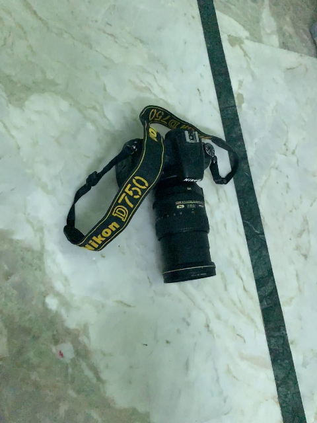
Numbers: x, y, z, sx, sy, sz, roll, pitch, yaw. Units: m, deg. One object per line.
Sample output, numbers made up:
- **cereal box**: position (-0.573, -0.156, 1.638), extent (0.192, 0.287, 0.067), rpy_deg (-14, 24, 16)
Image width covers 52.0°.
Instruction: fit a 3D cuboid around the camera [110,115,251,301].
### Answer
- **camera**: position (0.022, -0.002, 0.469), extent (0.140, 0.100, 0.232), rpy_deg (-1, 74, -25)
